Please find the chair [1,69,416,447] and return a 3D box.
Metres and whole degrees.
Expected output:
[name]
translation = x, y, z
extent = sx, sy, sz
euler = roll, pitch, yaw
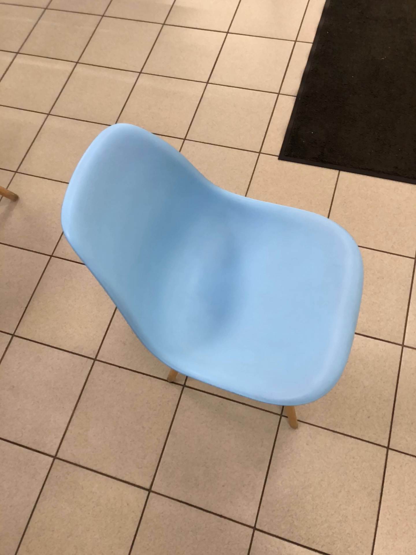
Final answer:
[chair]
translation = 0.066, 0.042, 1.060
extent = 0.570, 0.778, 0.471
euler = 14, 68, 12
